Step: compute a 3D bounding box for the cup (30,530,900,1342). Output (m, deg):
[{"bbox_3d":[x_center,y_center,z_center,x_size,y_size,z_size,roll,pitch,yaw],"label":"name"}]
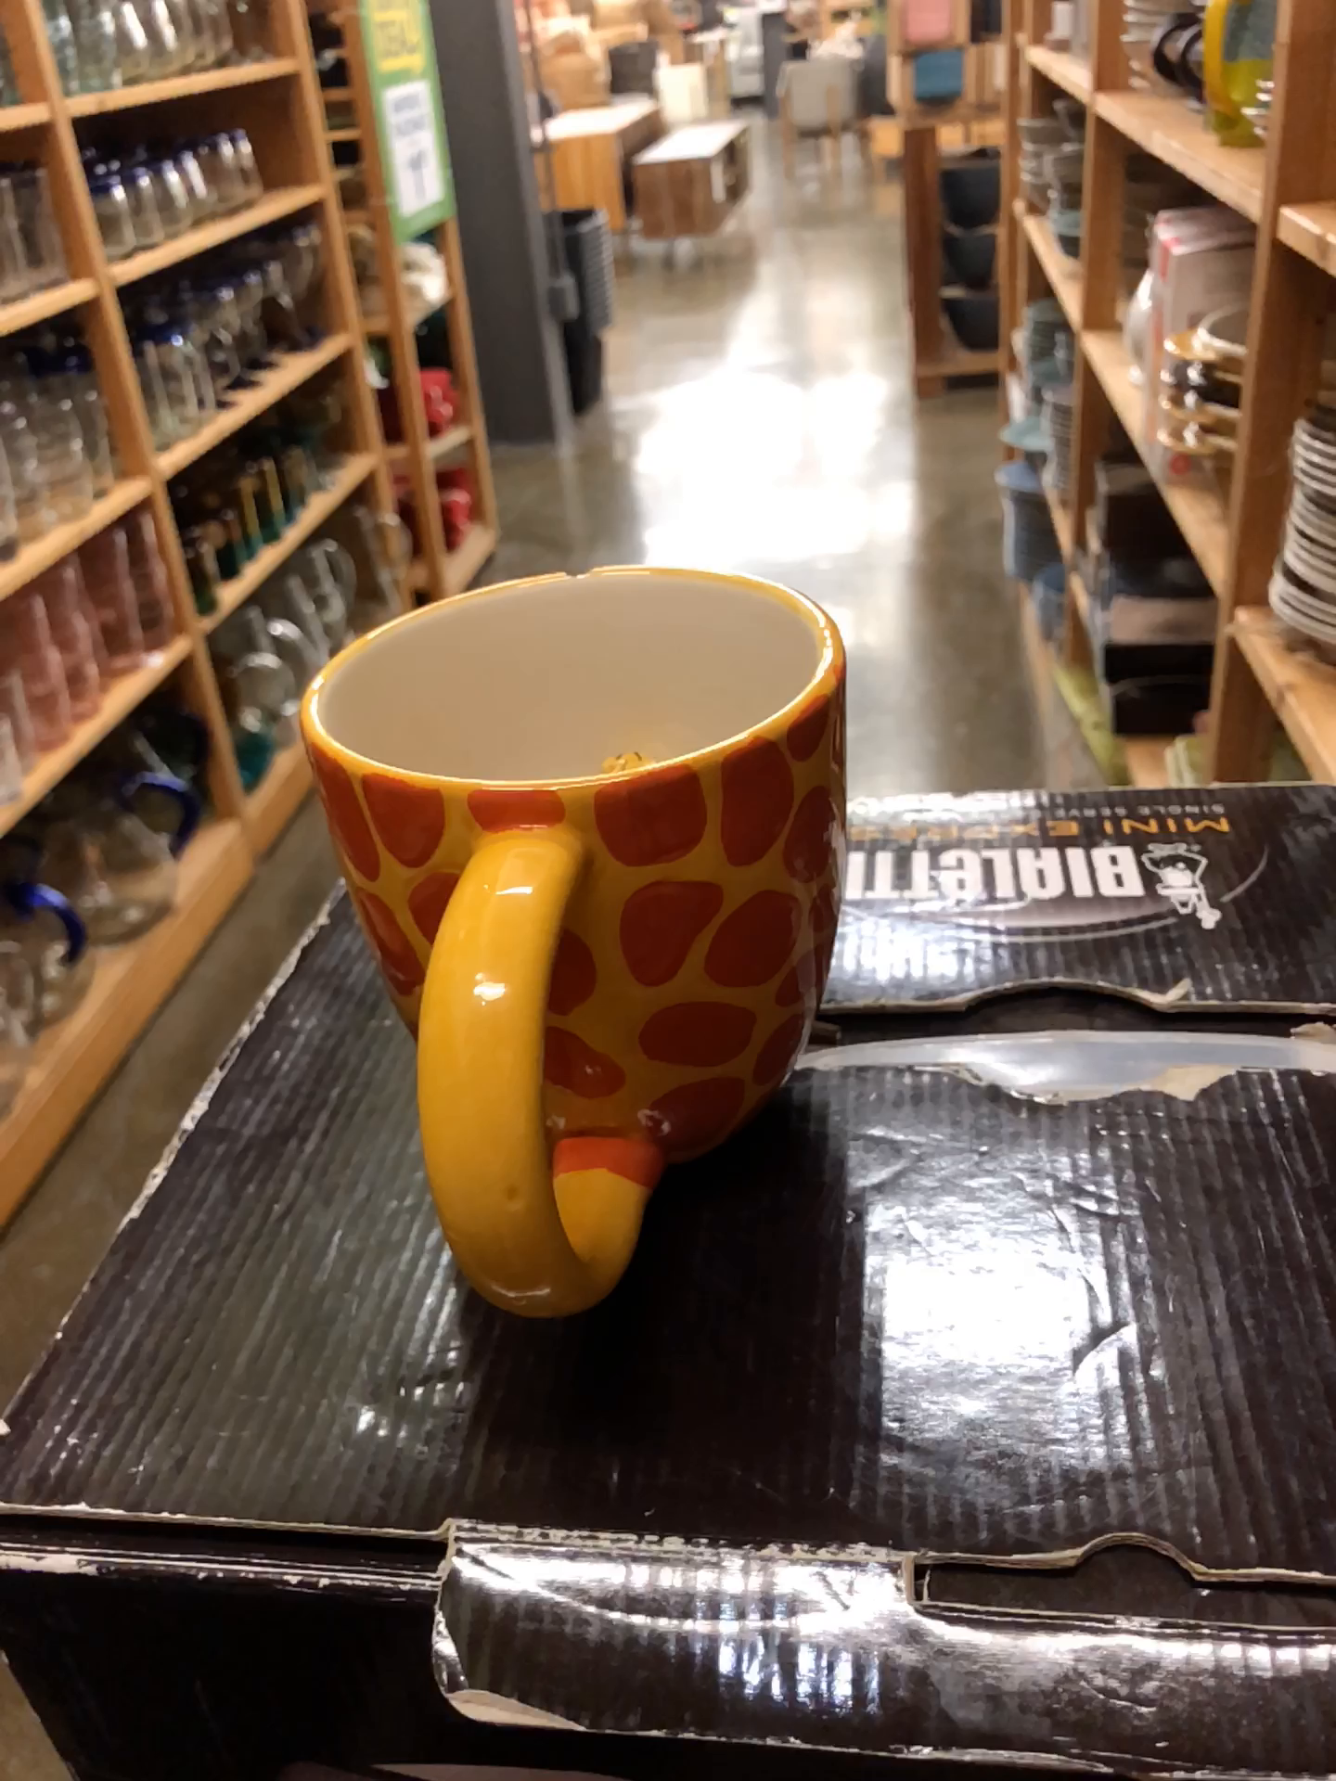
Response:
[{"bbox_3d":[-0.016,-0.003,0.250,0.102,0.066,0.134,-1,32,11],"label":"cup"}]
